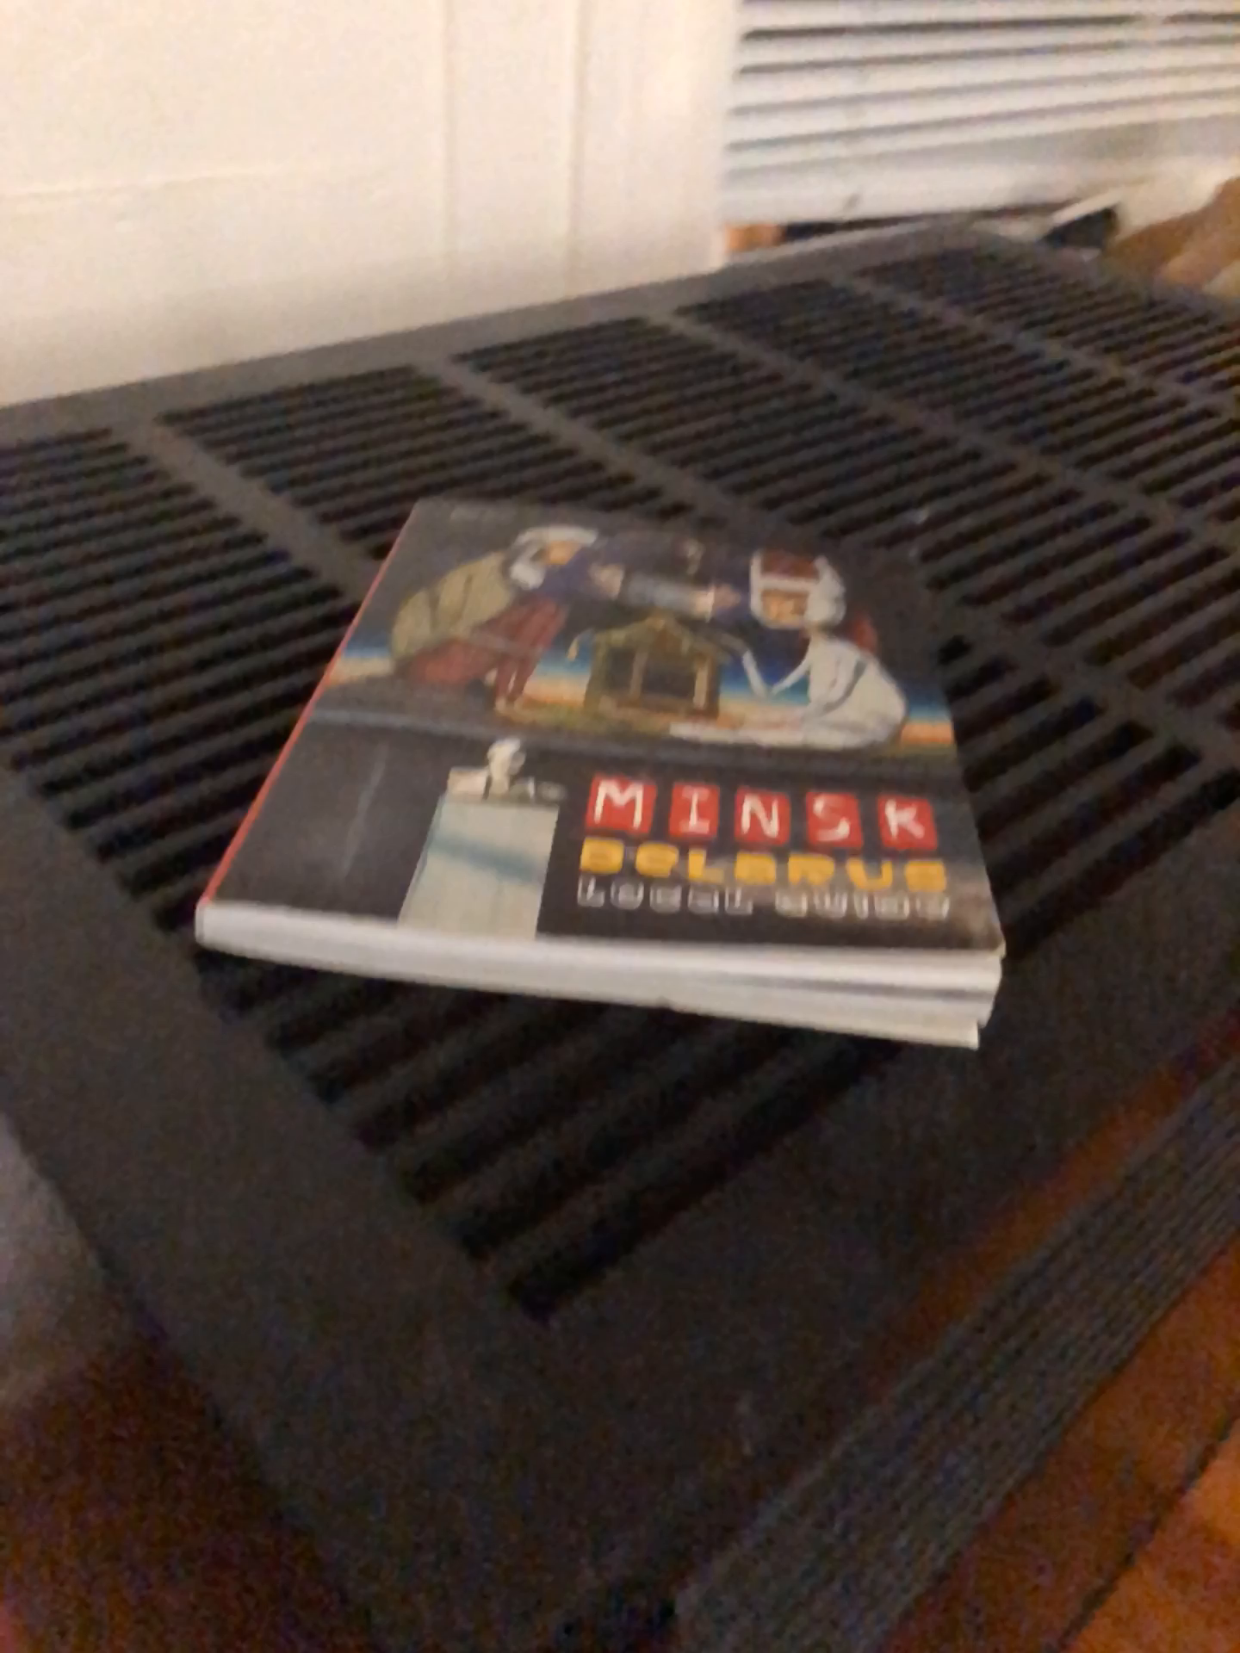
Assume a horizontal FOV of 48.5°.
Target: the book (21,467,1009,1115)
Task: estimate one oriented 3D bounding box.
[{"bbox_3d":[-0.008,-0.027,0.308,0.160,0.020,0.201,6,36,3],"label":"book"}]
